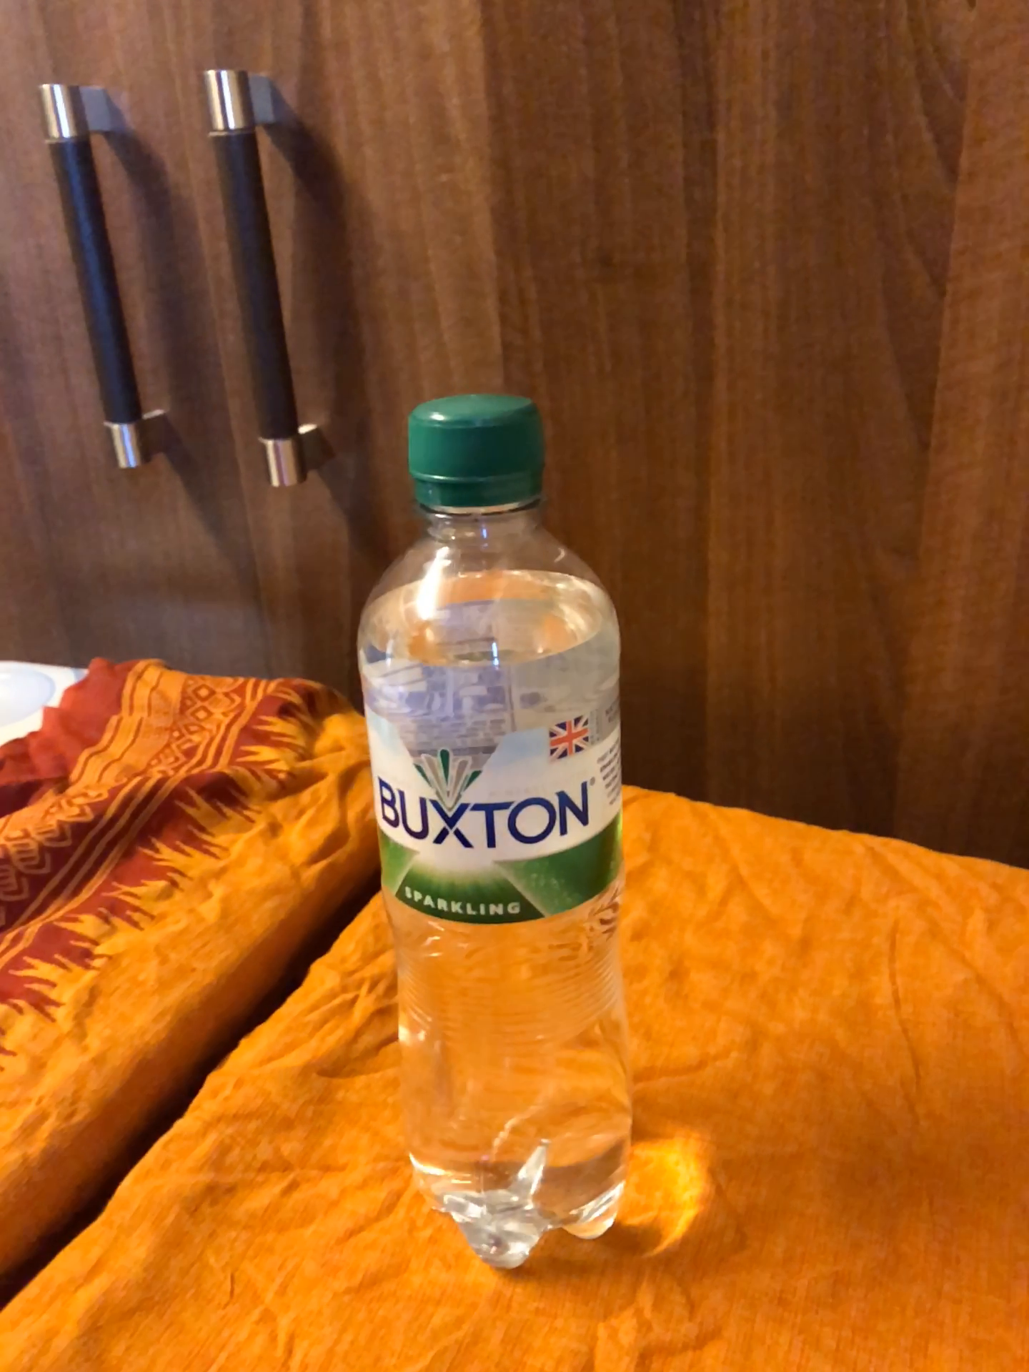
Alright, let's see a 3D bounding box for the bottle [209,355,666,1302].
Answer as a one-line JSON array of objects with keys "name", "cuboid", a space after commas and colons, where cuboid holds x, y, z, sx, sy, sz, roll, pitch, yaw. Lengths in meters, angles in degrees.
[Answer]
[{"name": "bottle", "cuboid": [-0.007, 0.038, 0.284, 0.070, 0.219, 0.070, -3, 26, 1]}]
